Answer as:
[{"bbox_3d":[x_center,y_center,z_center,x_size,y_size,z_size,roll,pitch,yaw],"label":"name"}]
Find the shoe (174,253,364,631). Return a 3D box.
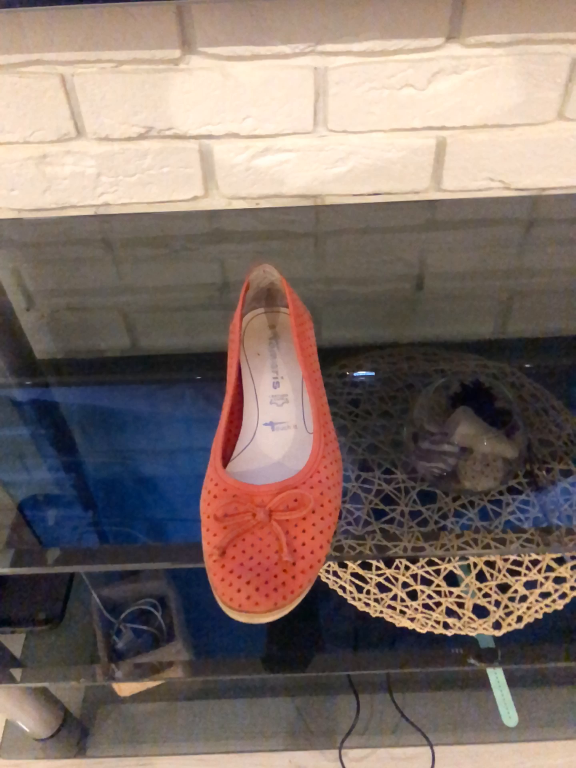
[{"bbox_3d":[-0.005,0.022,0.413,0.090,0.079,0.249,-1,47,2],"label":"shoe"}]
